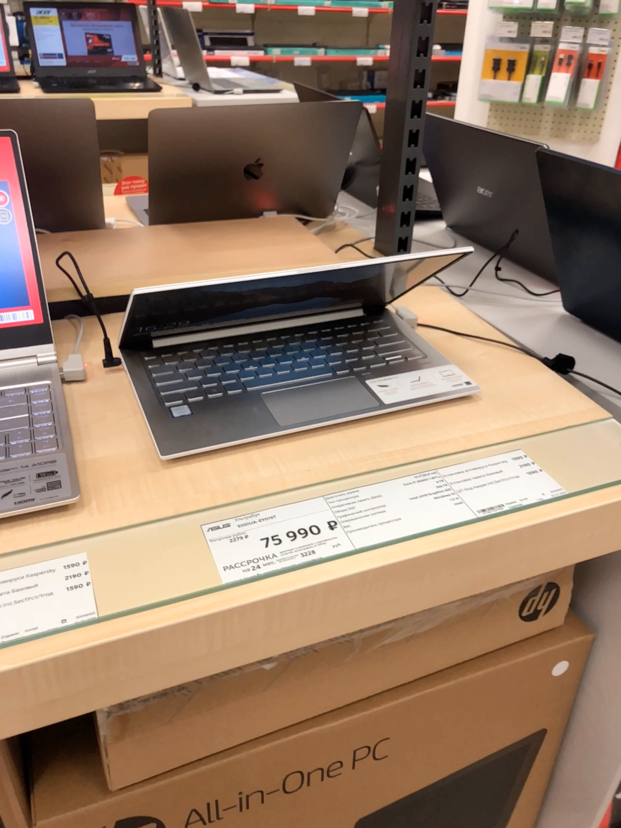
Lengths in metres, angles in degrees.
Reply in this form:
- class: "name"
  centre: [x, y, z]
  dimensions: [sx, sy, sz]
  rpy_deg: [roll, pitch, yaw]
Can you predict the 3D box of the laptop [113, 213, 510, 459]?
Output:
- class: "laptop"
  centre: [-0.009, -0.092, 0.654]
  dimensions: [0.309, 0.119, 0.197]
  rpy_deg: [-11, 33, -20]
